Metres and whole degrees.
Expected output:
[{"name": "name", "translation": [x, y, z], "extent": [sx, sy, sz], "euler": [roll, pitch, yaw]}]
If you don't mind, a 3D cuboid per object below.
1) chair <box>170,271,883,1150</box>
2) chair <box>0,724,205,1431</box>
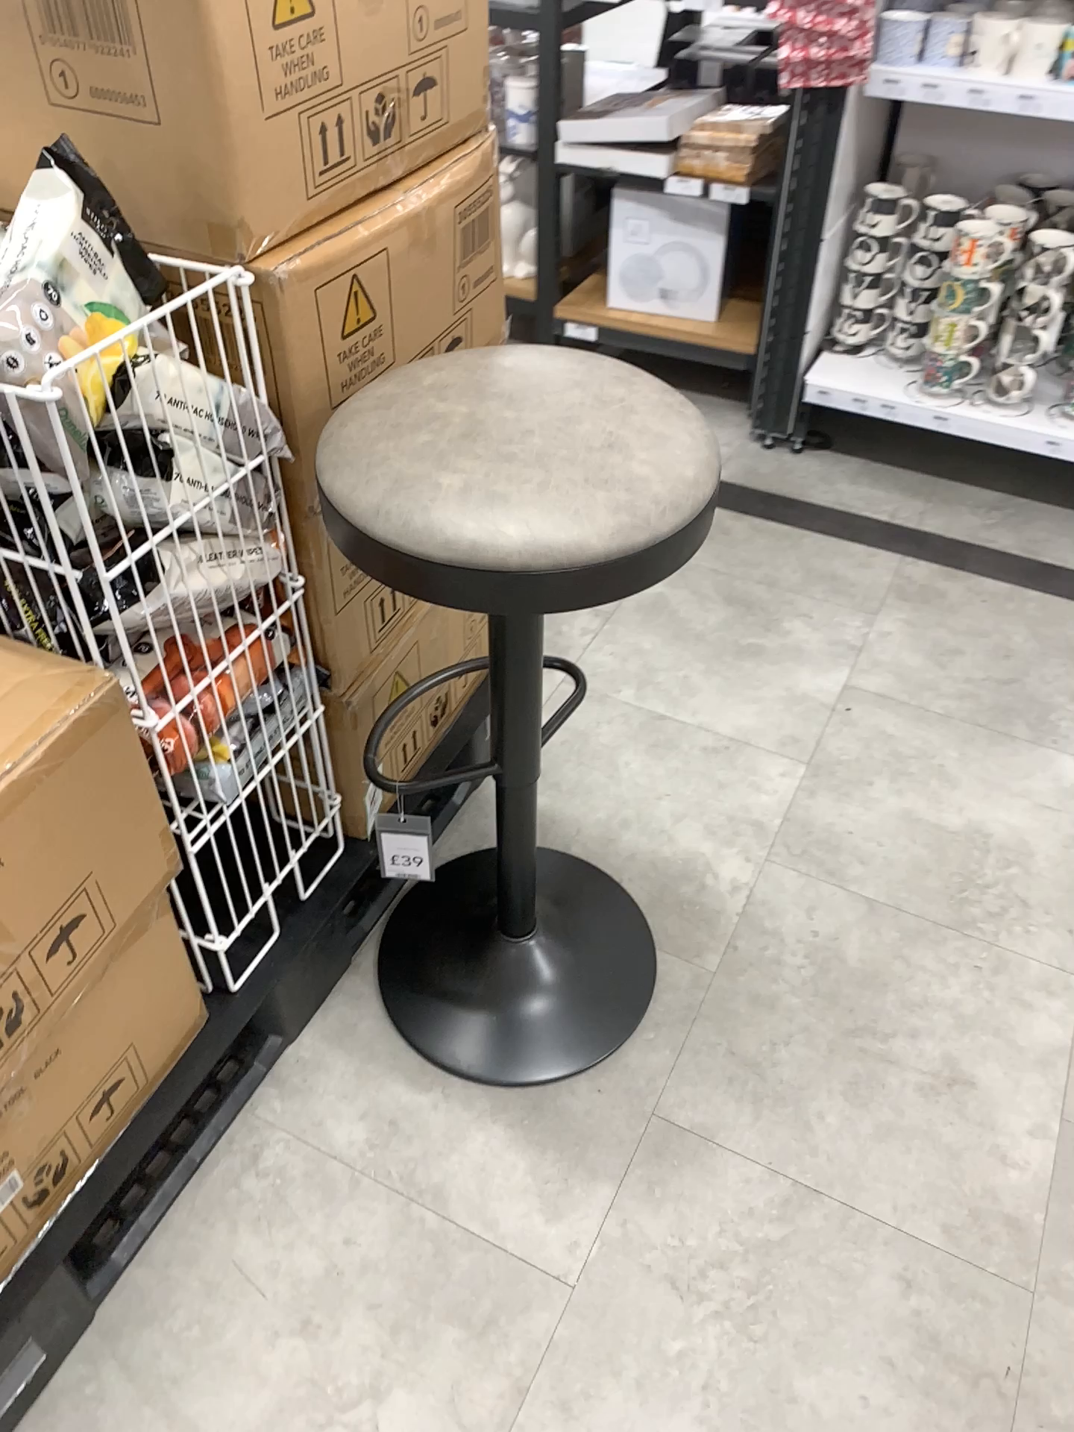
[{"name": "chair", "translation": [-0.009, 0.000, 1.217], "extent": [0.435, 0.740, 0.460], "euler": [34, 52, 31]}, {"name": "chair", "translation": [-0.604, 0.499, 0.615], "extent": [0.454, 0.721, 0.511], "euler": [22, 47, 22]}]
